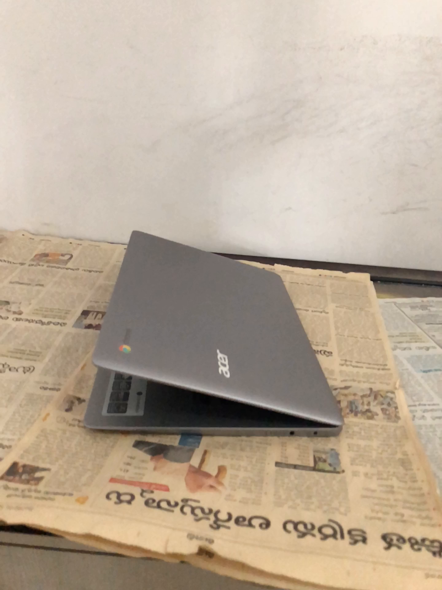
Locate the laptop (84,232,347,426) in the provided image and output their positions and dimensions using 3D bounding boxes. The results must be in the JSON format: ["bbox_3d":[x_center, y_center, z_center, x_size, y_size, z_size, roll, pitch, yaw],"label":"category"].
[{"bbox_3d":[-0.015,0.012,0.549,0.210,0.058,0.332,2,25,-4],"label":"laptop"}]
